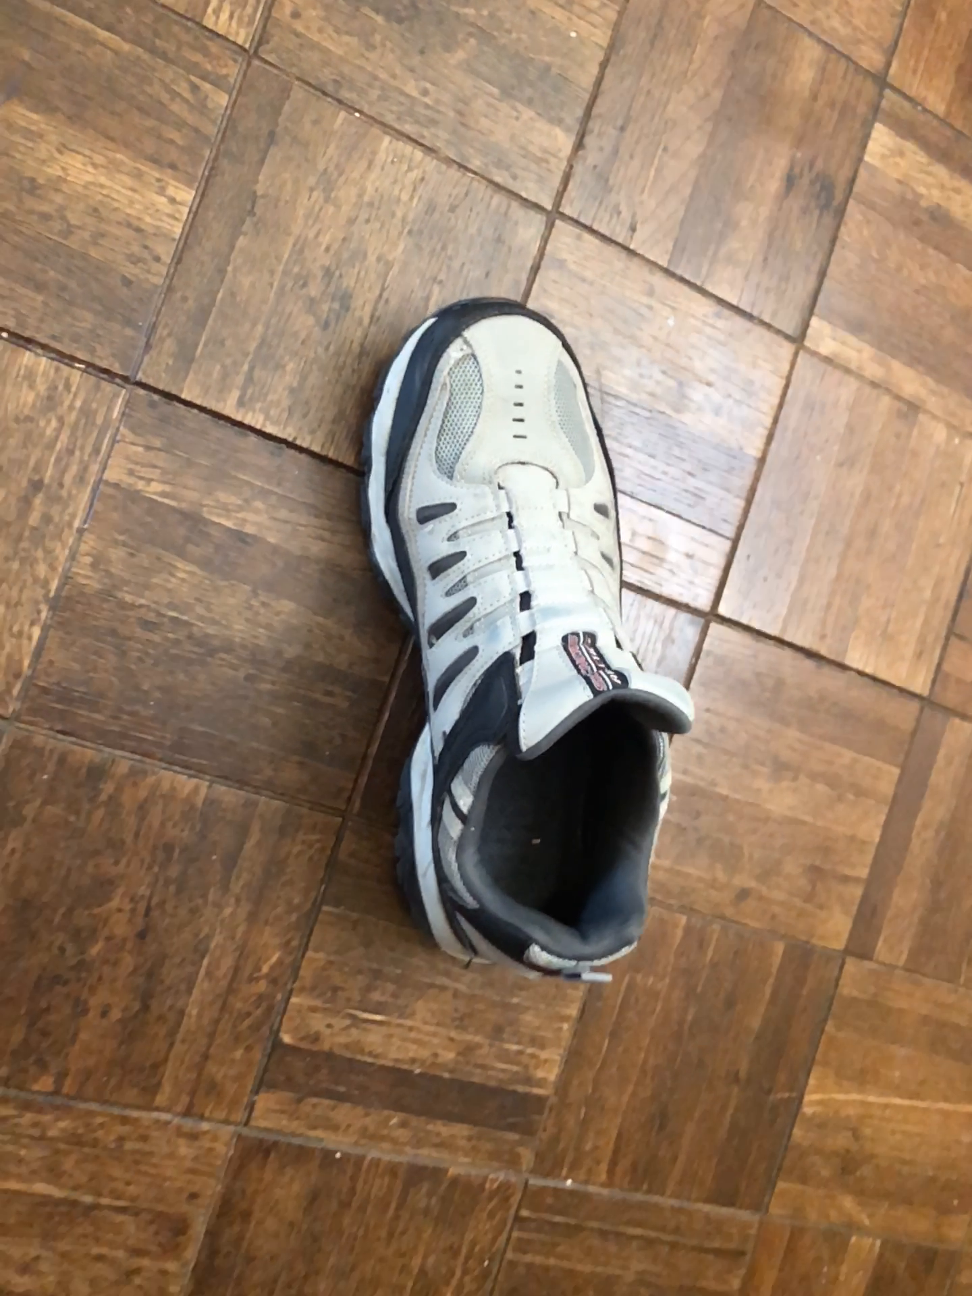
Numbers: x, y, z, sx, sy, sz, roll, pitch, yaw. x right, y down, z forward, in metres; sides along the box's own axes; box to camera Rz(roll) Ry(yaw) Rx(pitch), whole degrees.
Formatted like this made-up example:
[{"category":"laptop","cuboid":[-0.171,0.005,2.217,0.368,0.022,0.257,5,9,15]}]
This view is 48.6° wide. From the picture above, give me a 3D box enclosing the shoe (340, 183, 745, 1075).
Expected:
[{"category":"shoe","cuboid":[0.018,-0.009,0.477,0.120,0.150,0.320,-4,95,-20]}]
